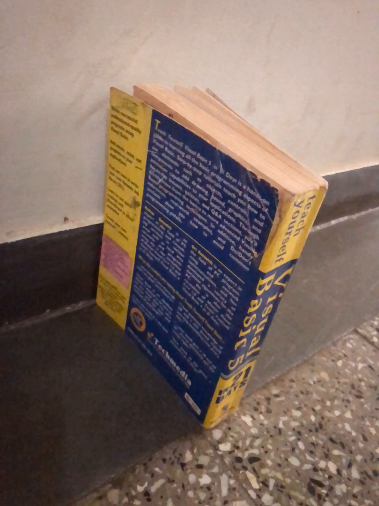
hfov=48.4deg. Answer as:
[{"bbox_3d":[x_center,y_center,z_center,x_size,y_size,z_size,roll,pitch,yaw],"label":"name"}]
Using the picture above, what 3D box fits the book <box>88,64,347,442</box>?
[{"bbox_3d":[-0.014,-0.012,0.377,0.060,0.229,0.251,-15,43,-29],"label":"book"}]
